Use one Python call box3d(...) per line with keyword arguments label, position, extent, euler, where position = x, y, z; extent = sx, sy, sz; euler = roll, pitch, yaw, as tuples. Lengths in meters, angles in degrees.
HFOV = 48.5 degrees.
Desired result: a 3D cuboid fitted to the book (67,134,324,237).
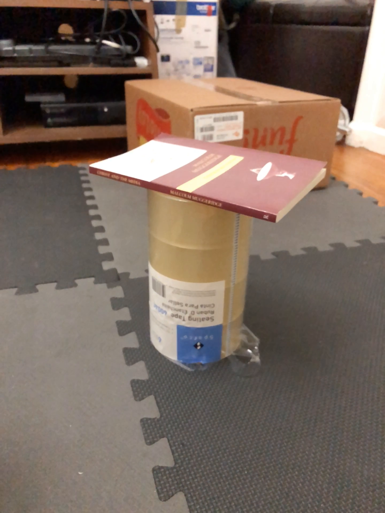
box3d(label="book", position=(0.005, -0.082, 0.423), extent=(0.210, 0.020, 0.141), euler=(18, 33, 25))
